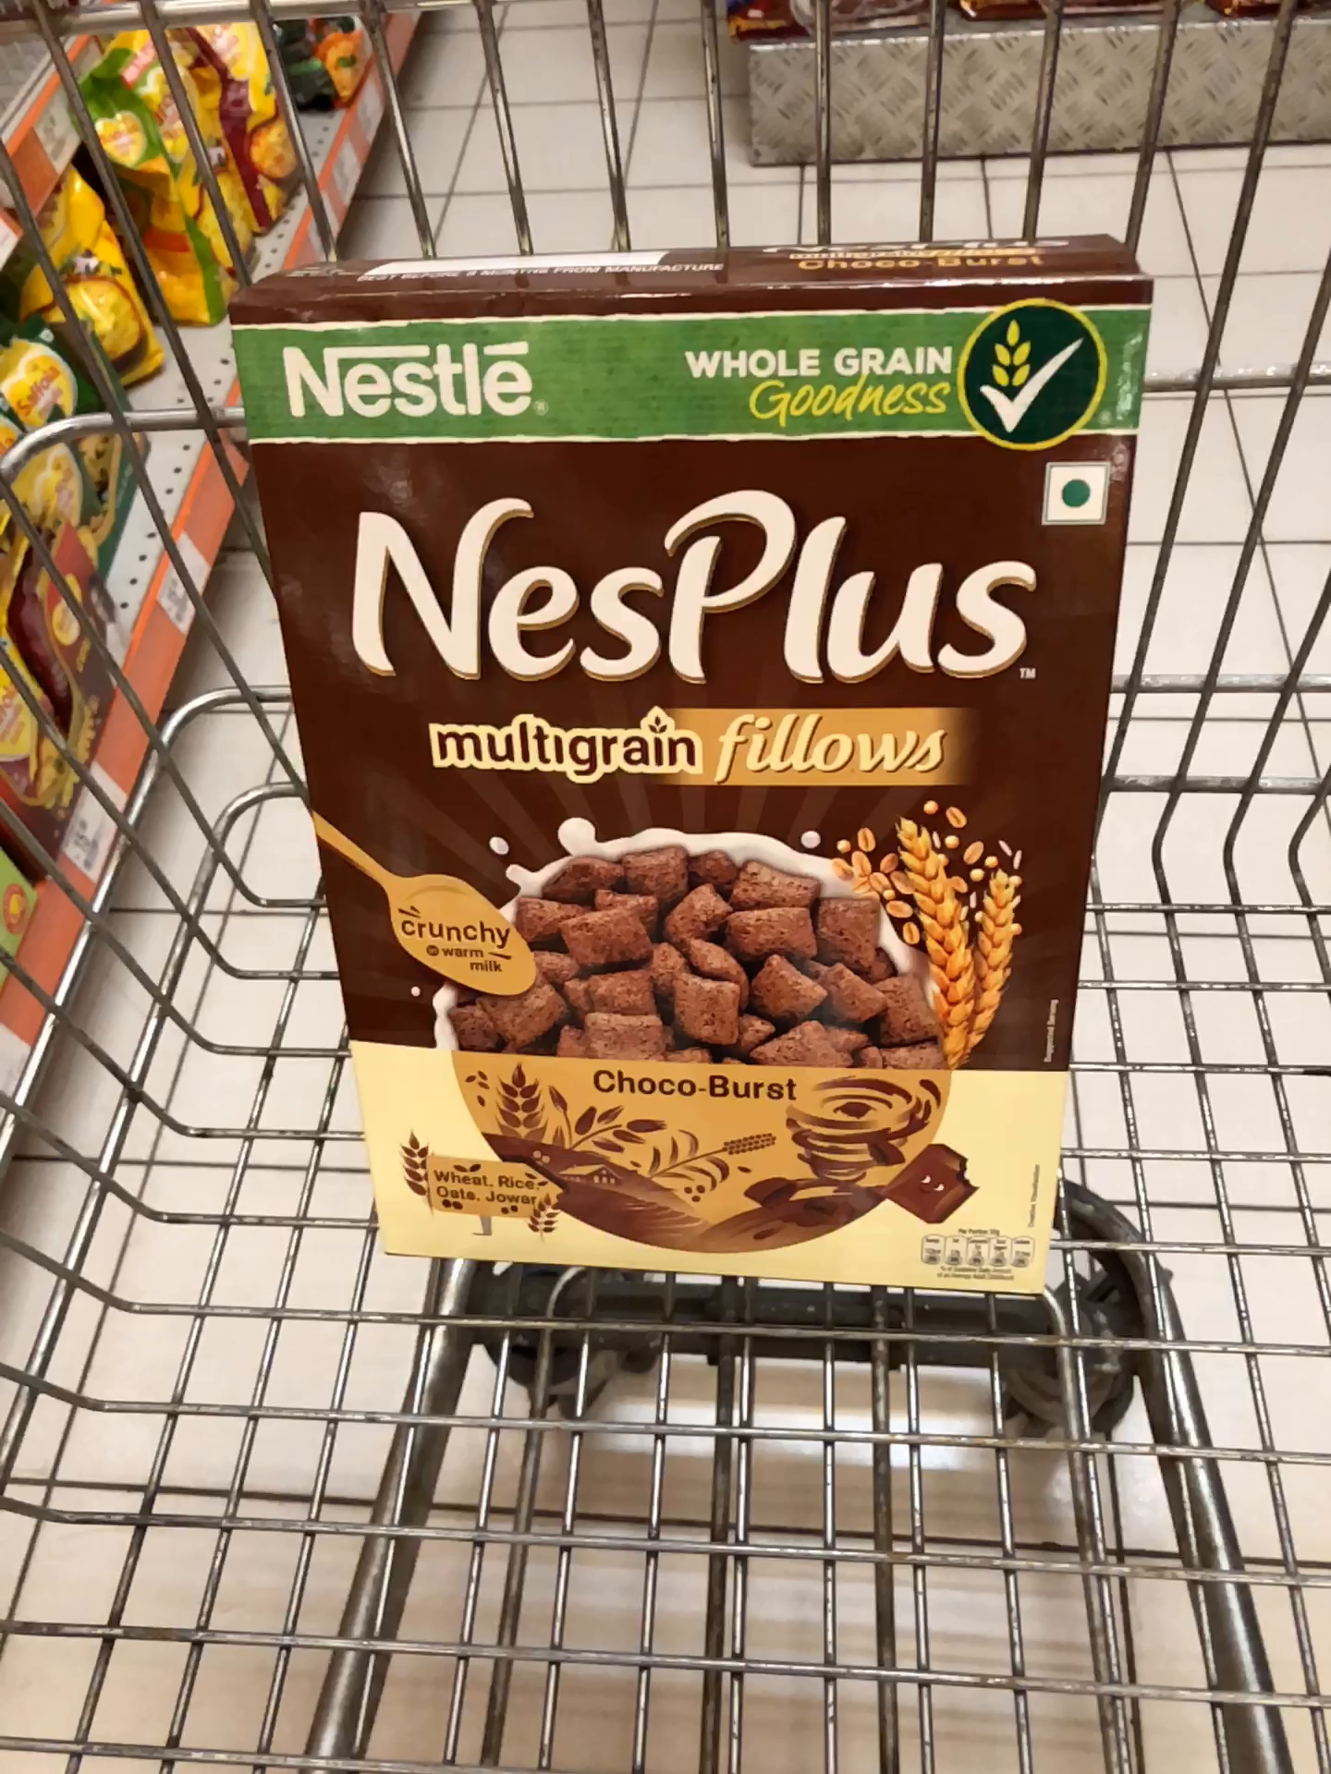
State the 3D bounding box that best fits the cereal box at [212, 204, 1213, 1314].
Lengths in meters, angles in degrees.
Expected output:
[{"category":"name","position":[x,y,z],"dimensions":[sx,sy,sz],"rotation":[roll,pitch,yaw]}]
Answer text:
[{"category":"cereal box","position":[0.014,-0.021,0.363],"dimensions":[0.190,0.259,0.060],"rotation":[1,27,8]}]
